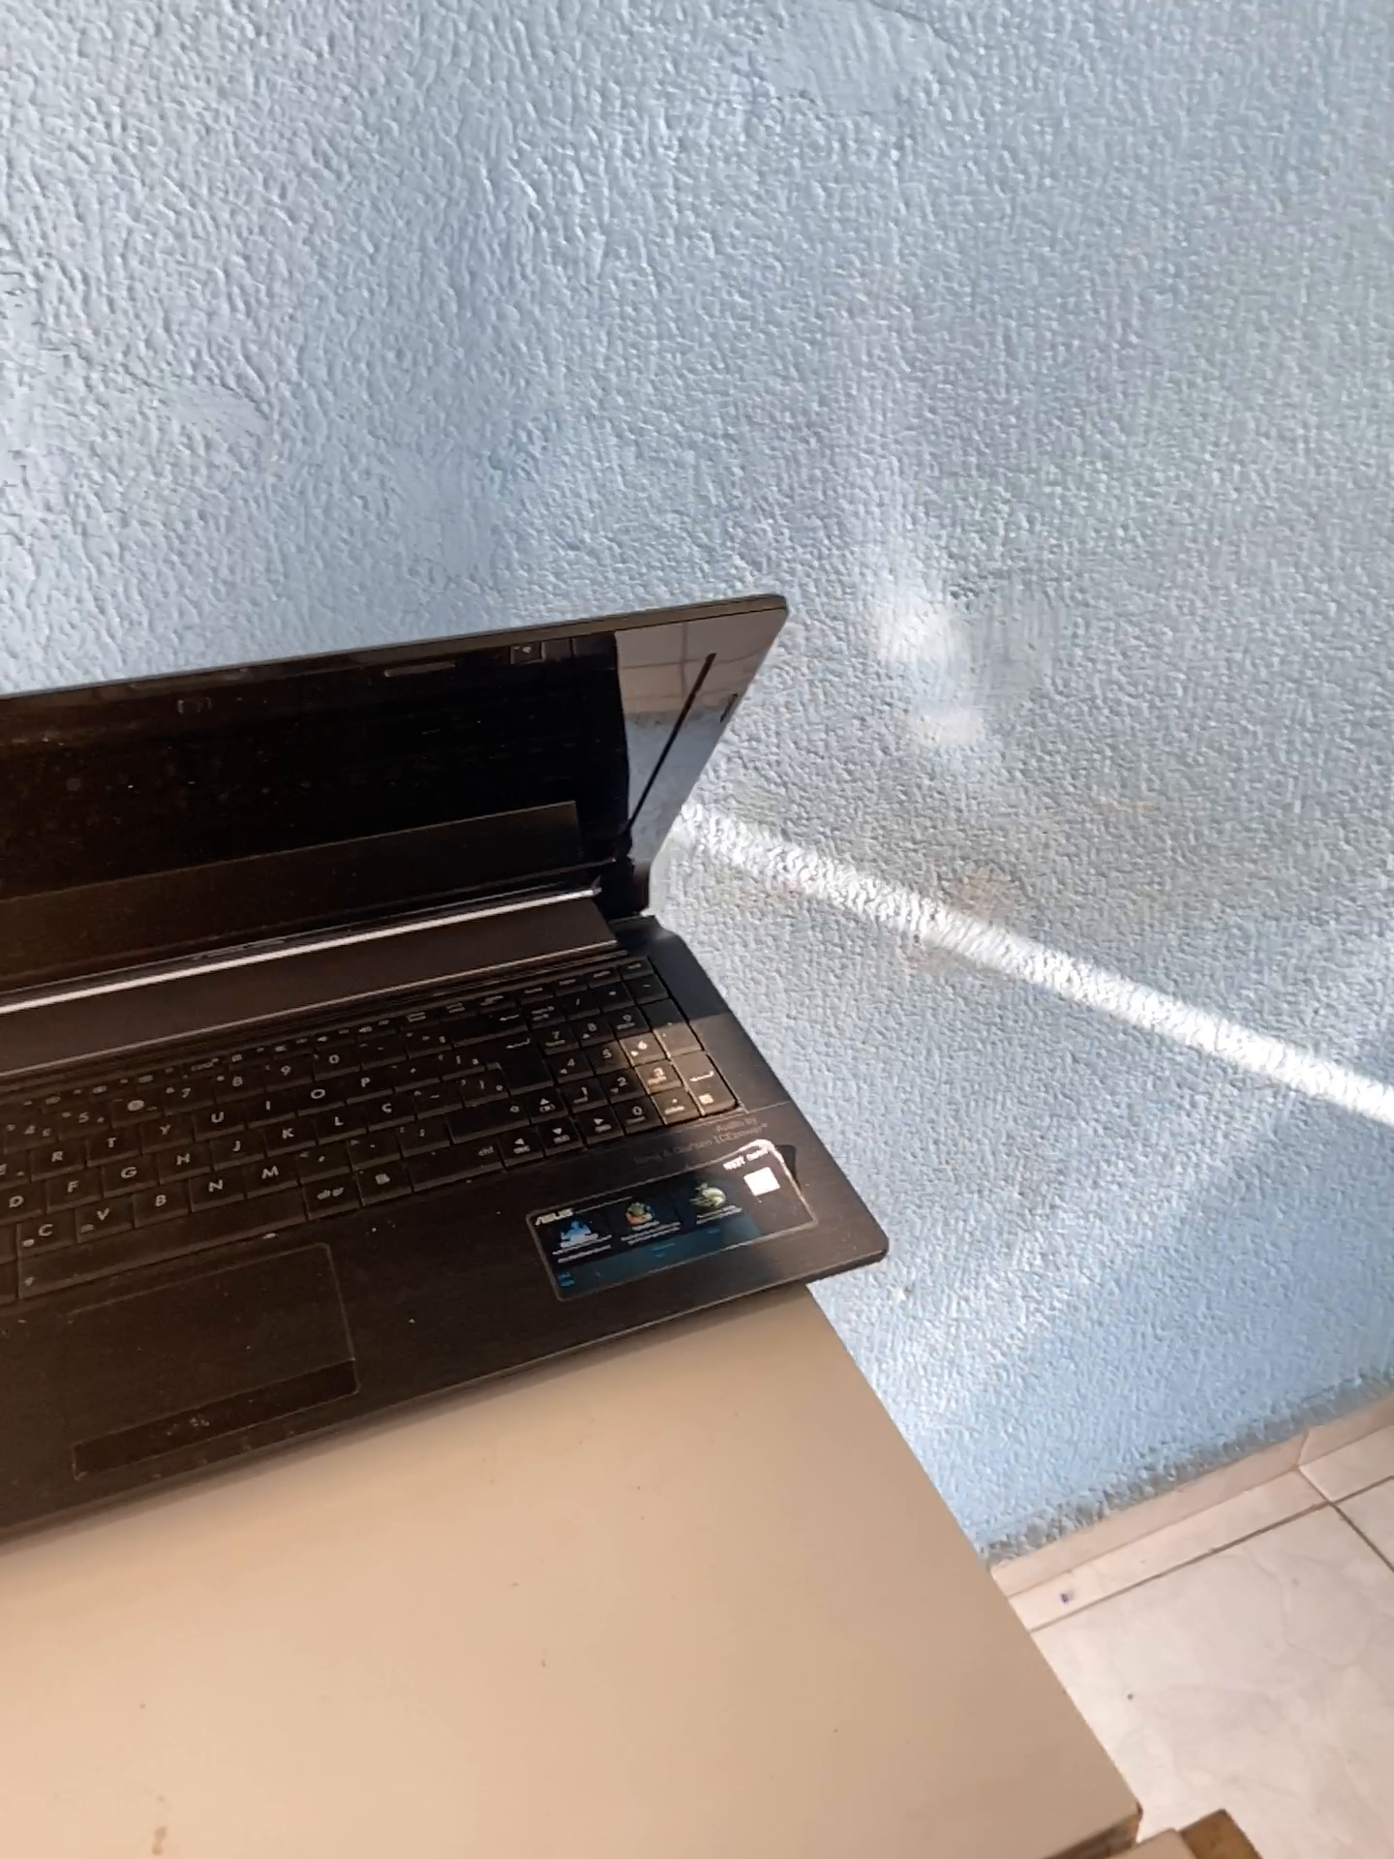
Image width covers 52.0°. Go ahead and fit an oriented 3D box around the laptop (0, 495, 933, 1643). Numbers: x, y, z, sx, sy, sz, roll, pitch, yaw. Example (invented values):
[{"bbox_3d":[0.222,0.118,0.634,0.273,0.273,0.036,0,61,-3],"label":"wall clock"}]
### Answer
[{"bbox_3d":[-0.158,0.002,0.497,0.387,0.208,0.256,-12,32,-19],"label":"laptop"}]
